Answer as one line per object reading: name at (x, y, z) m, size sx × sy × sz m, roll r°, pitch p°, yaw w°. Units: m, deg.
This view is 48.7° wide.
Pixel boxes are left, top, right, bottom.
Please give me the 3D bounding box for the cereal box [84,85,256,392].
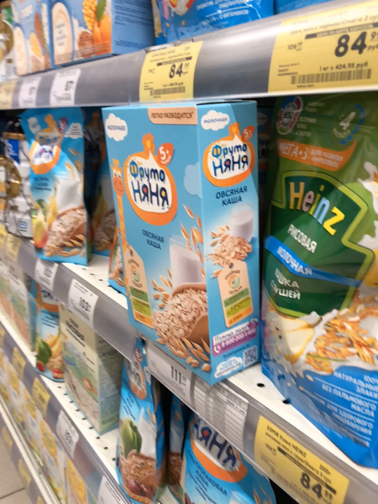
cereal box at (-0.016, -0.019, 0.328) m, size 0.050 × 0.199 × 0.140 m, roll -17°, pitch 24°, yaw -33°
